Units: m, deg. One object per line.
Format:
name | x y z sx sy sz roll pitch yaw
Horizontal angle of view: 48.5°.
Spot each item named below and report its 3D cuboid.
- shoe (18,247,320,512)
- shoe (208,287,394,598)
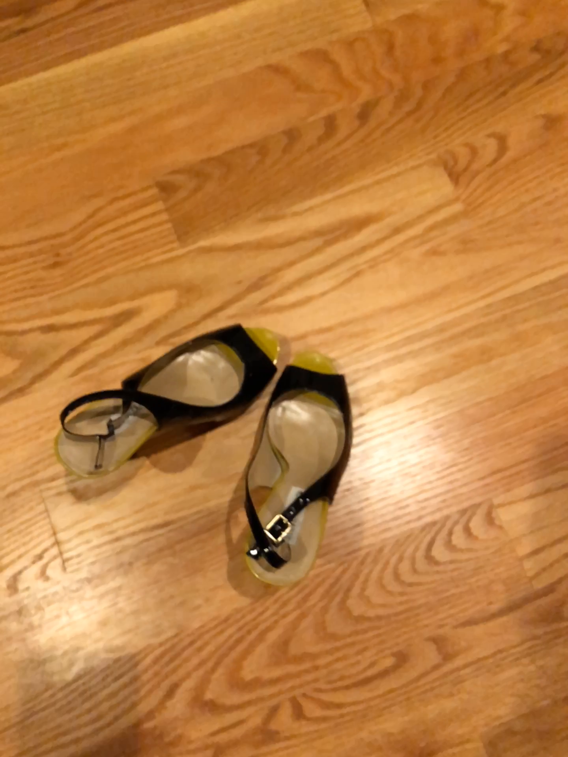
shoe | -0.080 0.008 0.511 0.204 0.121 0.085 -36 78 -8
shoe | 0.015 0.053 0.498 0.085 0.131 0.201 13 76 4
